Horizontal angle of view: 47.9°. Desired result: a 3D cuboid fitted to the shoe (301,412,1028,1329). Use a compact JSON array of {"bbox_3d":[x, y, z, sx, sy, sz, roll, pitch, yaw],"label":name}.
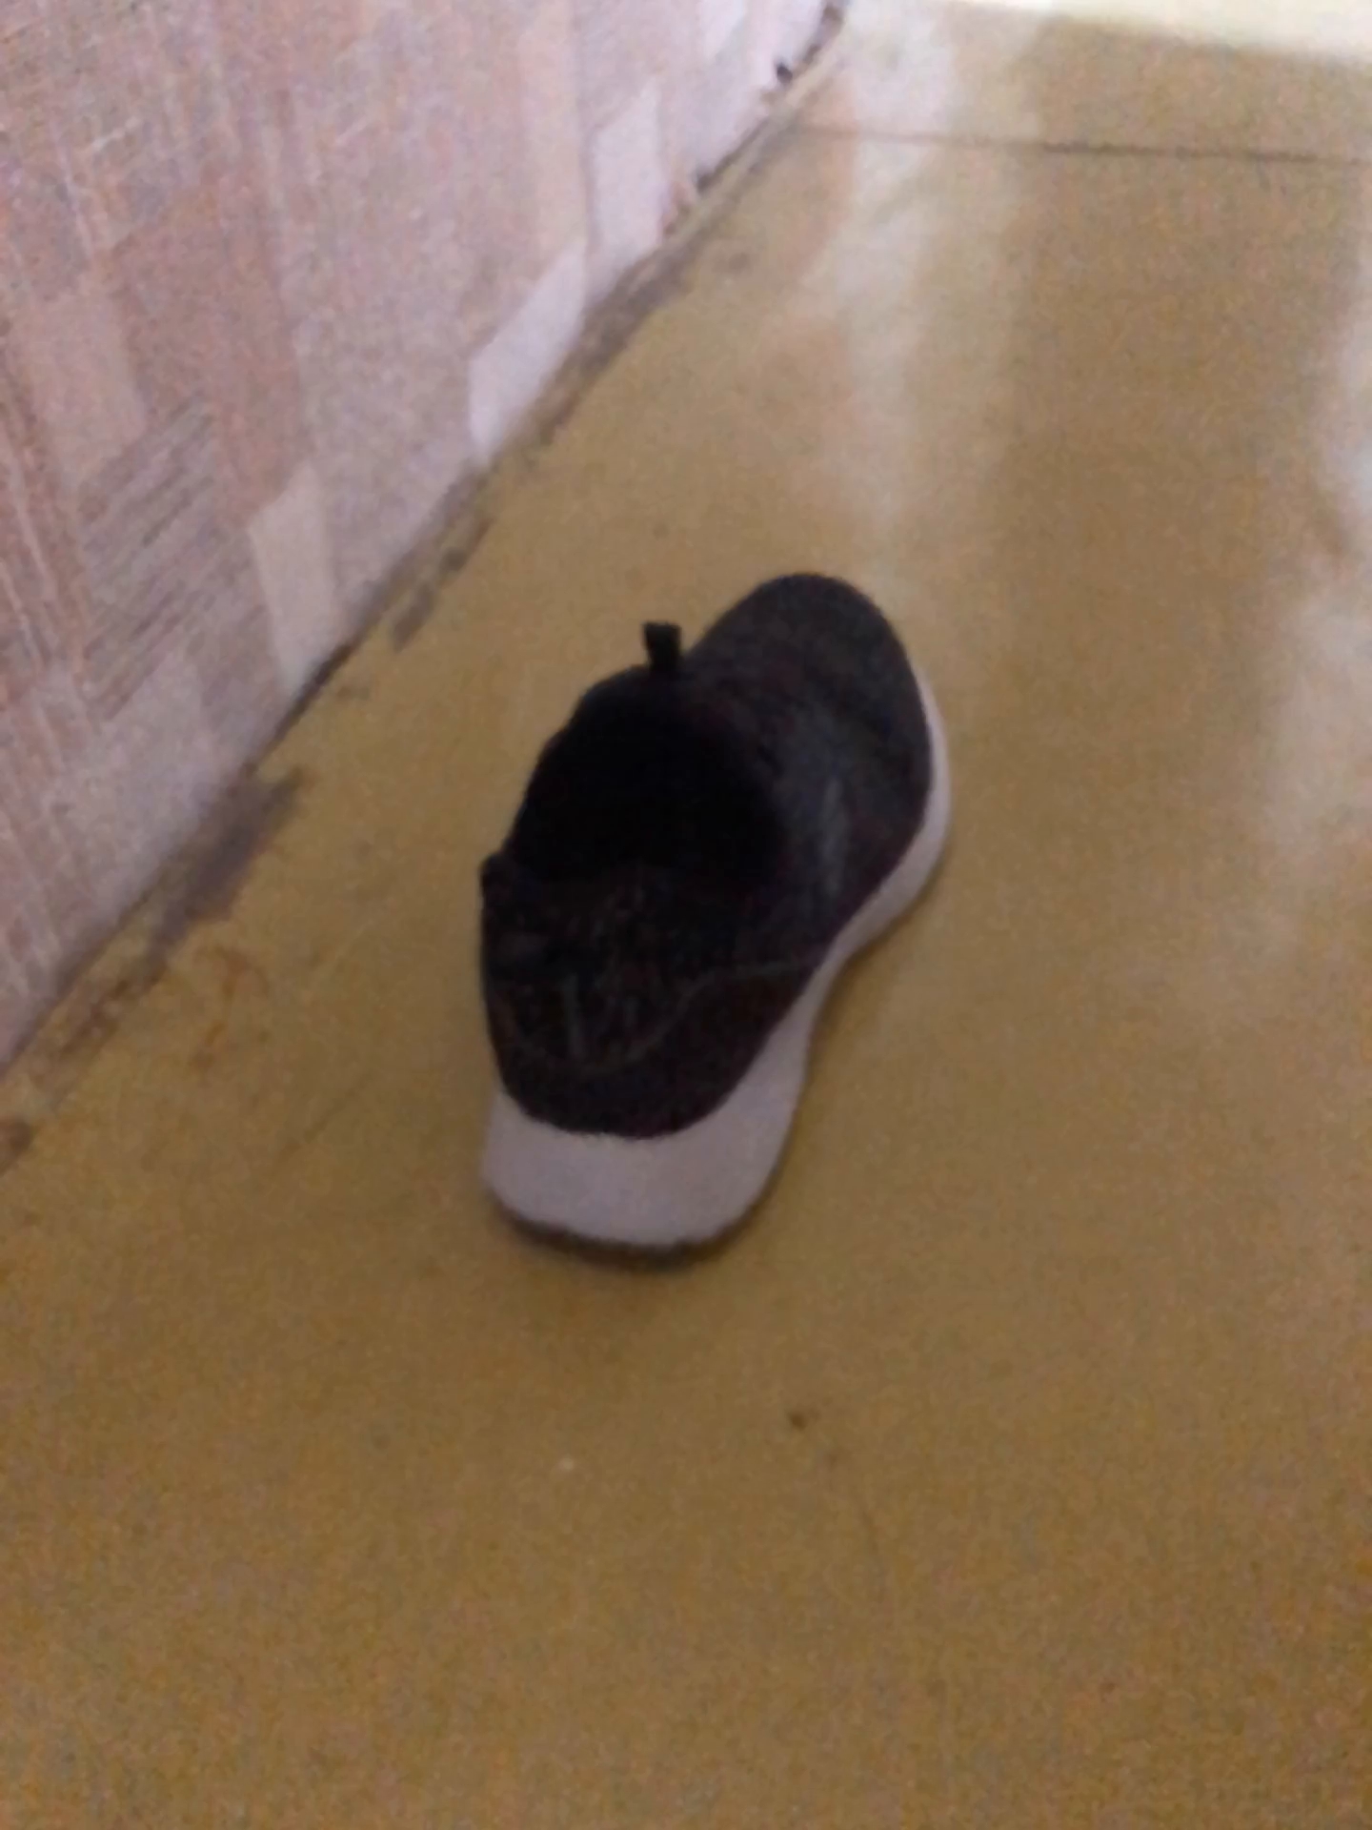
[{"bbox_3d":[0.016,-0.040,0.543,0.130,0.120,0.321,13,46,16],"label":"shoe"}]
